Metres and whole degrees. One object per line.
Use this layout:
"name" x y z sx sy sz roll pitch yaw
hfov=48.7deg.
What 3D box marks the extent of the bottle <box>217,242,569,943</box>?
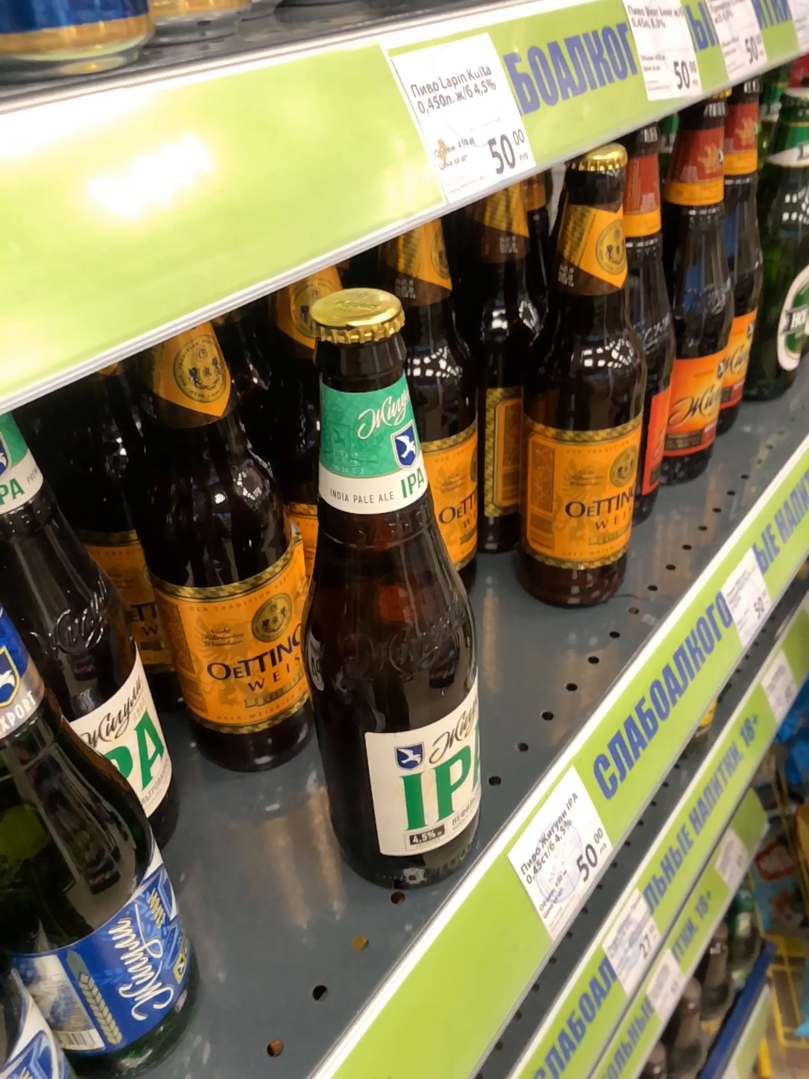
"bottle" 0.001 0.033 0.341 0.070 0.257 0.080 24 43 31
